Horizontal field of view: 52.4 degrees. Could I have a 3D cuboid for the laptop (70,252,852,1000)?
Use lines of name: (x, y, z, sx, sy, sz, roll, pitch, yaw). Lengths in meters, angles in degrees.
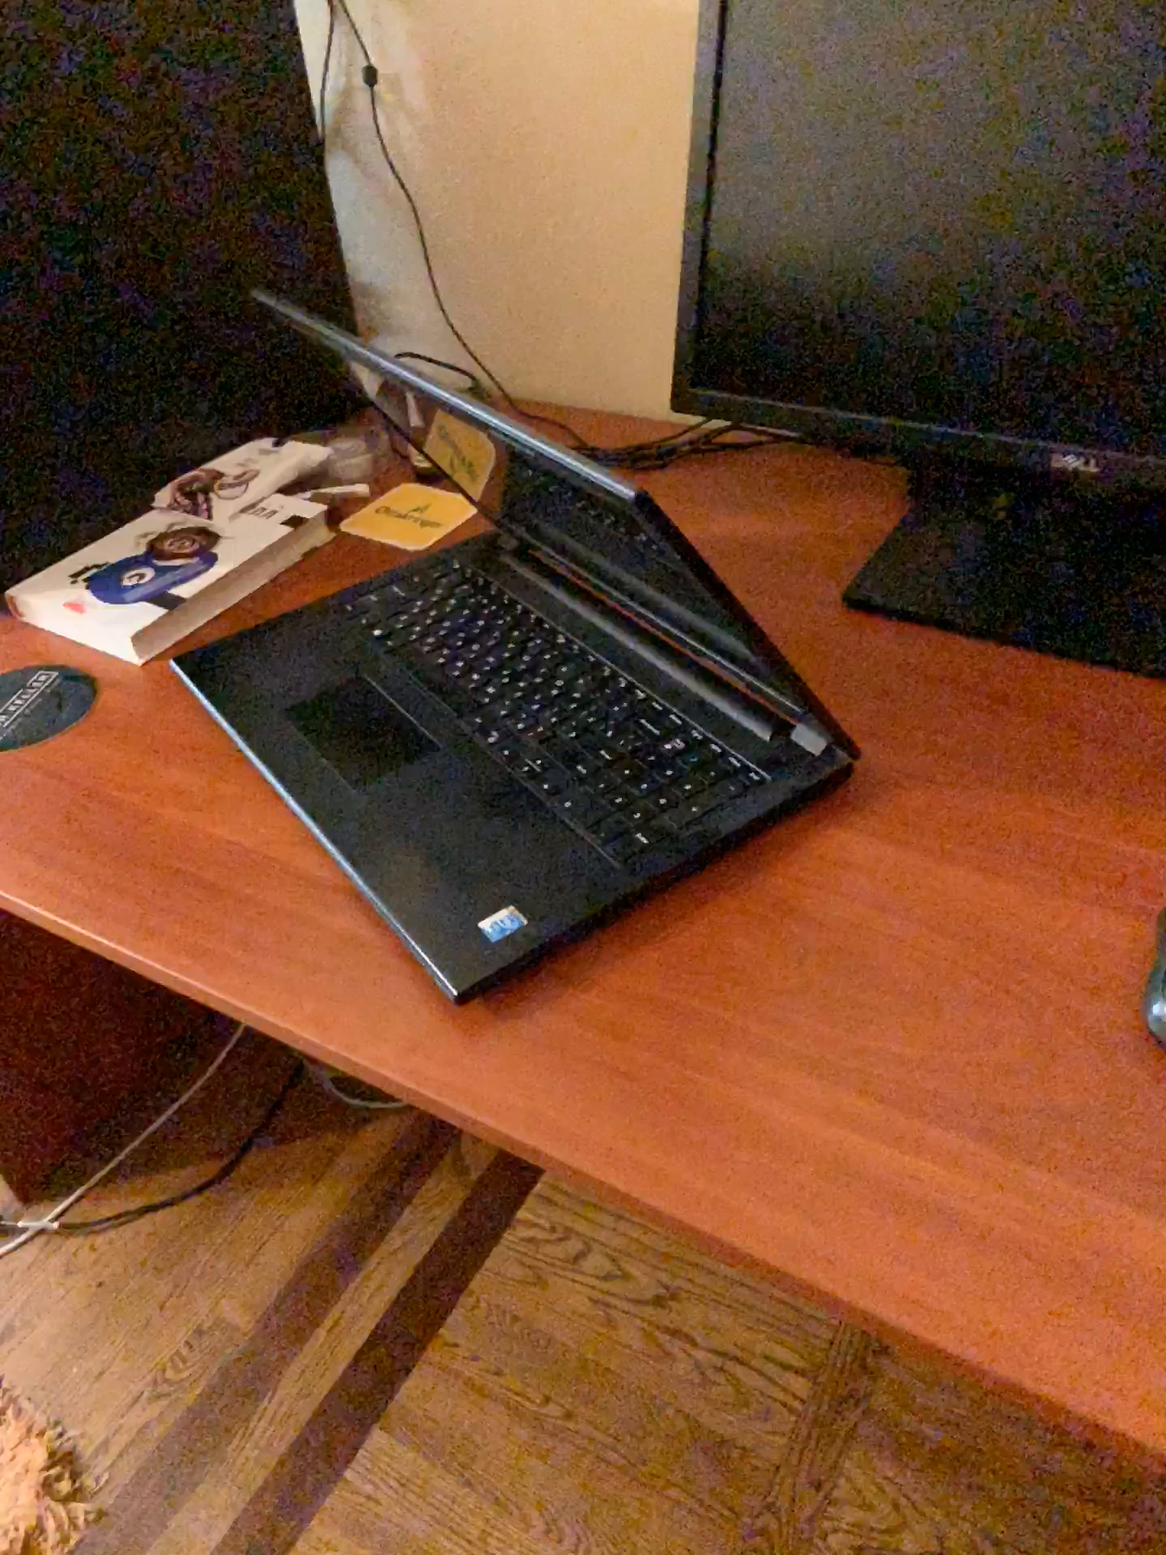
laptop: (-0.079, -0.119, 0.669, 0.246, 0.202, 0.375, -29, 45, -23)
